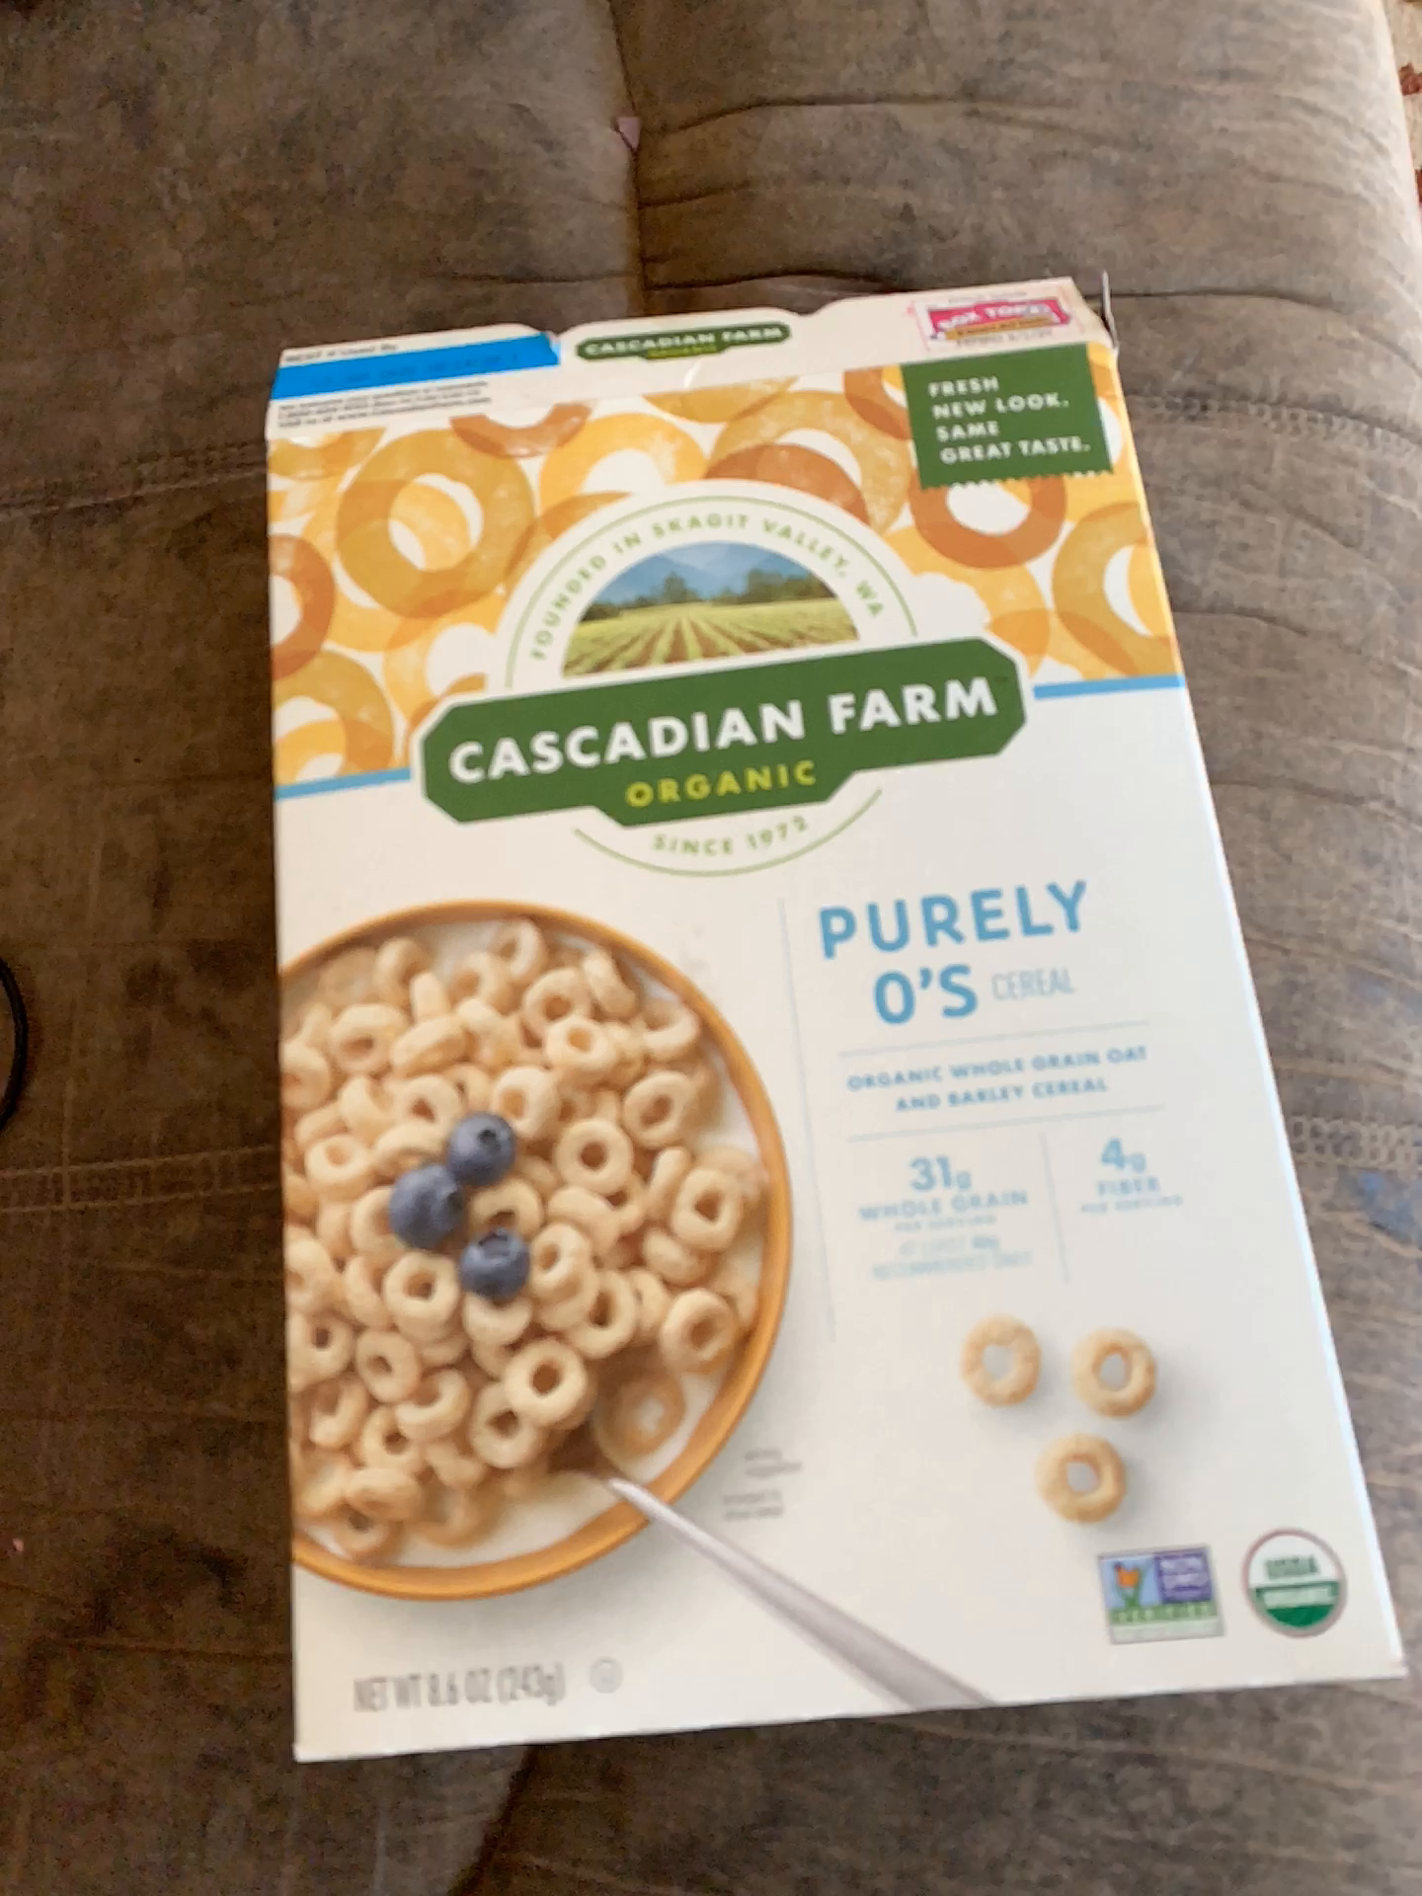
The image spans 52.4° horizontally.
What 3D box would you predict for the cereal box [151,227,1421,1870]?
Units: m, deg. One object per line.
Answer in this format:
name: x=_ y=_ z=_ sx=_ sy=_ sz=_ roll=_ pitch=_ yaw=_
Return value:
cereal box: x=0.010 y=0.004 z=0.286 sx=0.200 sy=0.070 sz=0.280 roll=-6 pitch=69 yaw=3
